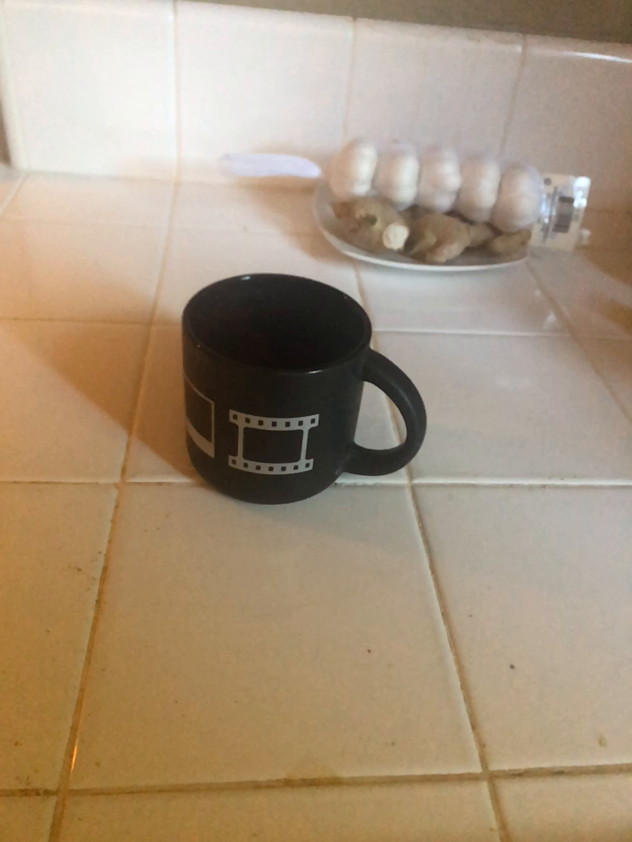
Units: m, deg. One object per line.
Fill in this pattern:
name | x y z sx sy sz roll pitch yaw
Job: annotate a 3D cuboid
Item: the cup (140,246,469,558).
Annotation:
cup | -0.005 -0.014 0.356 0.130 0.089 0.091 17 41 12
